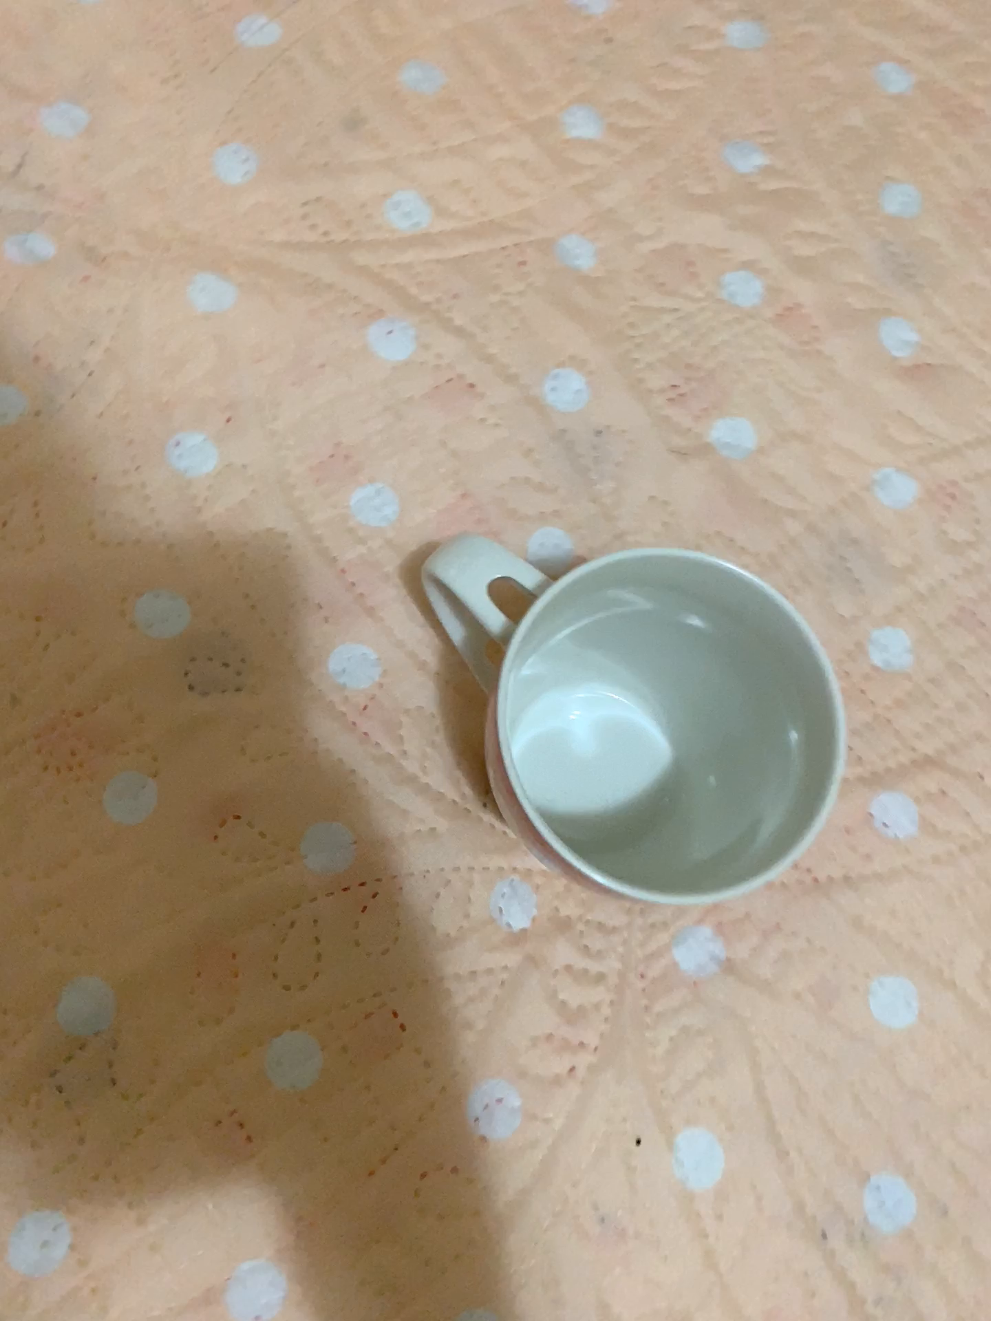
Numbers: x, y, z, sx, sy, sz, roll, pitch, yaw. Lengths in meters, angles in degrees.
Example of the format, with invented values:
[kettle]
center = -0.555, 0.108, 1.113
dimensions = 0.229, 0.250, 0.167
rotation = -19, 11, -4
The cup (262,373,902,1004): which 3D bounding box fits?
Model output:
[cup]
center = 0.016, 0.014, 0.281
dimensions = 0.120, 0.100, 0.090
rotation = 43, 74, 5
